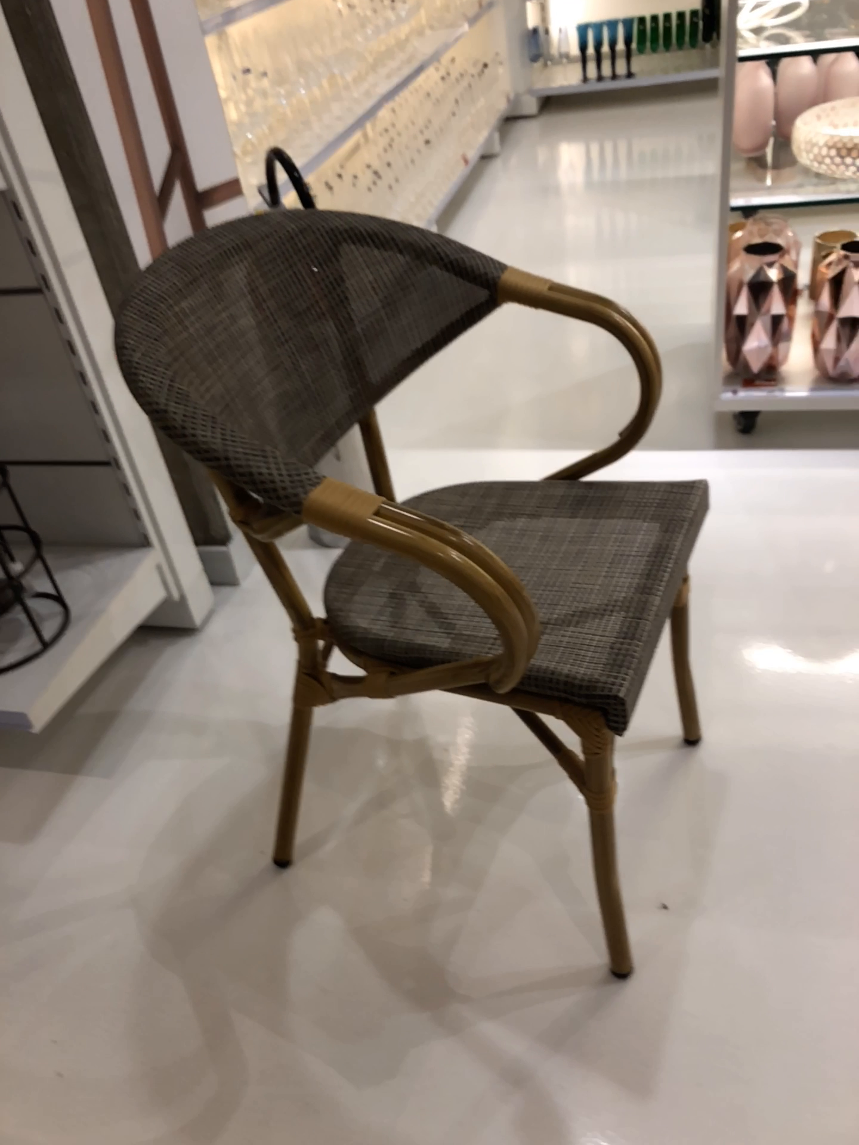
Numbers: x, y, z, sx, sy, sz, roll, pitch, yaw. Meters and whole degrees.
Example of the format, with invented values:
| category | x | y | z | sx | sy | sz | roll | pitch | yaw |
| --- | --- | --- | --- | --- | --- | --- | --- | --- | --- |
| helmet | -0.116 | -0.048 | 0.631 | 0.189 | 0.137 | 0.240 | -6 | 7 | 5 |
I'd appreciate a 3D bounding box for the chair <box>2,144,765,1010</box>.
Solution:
| category | x | y | z | sx | sy | sz | roll | pitch | yaw |
| --- | --- | --- | --- | --- | --- | --- | --- | --- | --- |
| chair | 0.039 | -0.015 | 1.141 | 0.571 | 0.784 | 0.524 | 9 | 40 | 24 |
